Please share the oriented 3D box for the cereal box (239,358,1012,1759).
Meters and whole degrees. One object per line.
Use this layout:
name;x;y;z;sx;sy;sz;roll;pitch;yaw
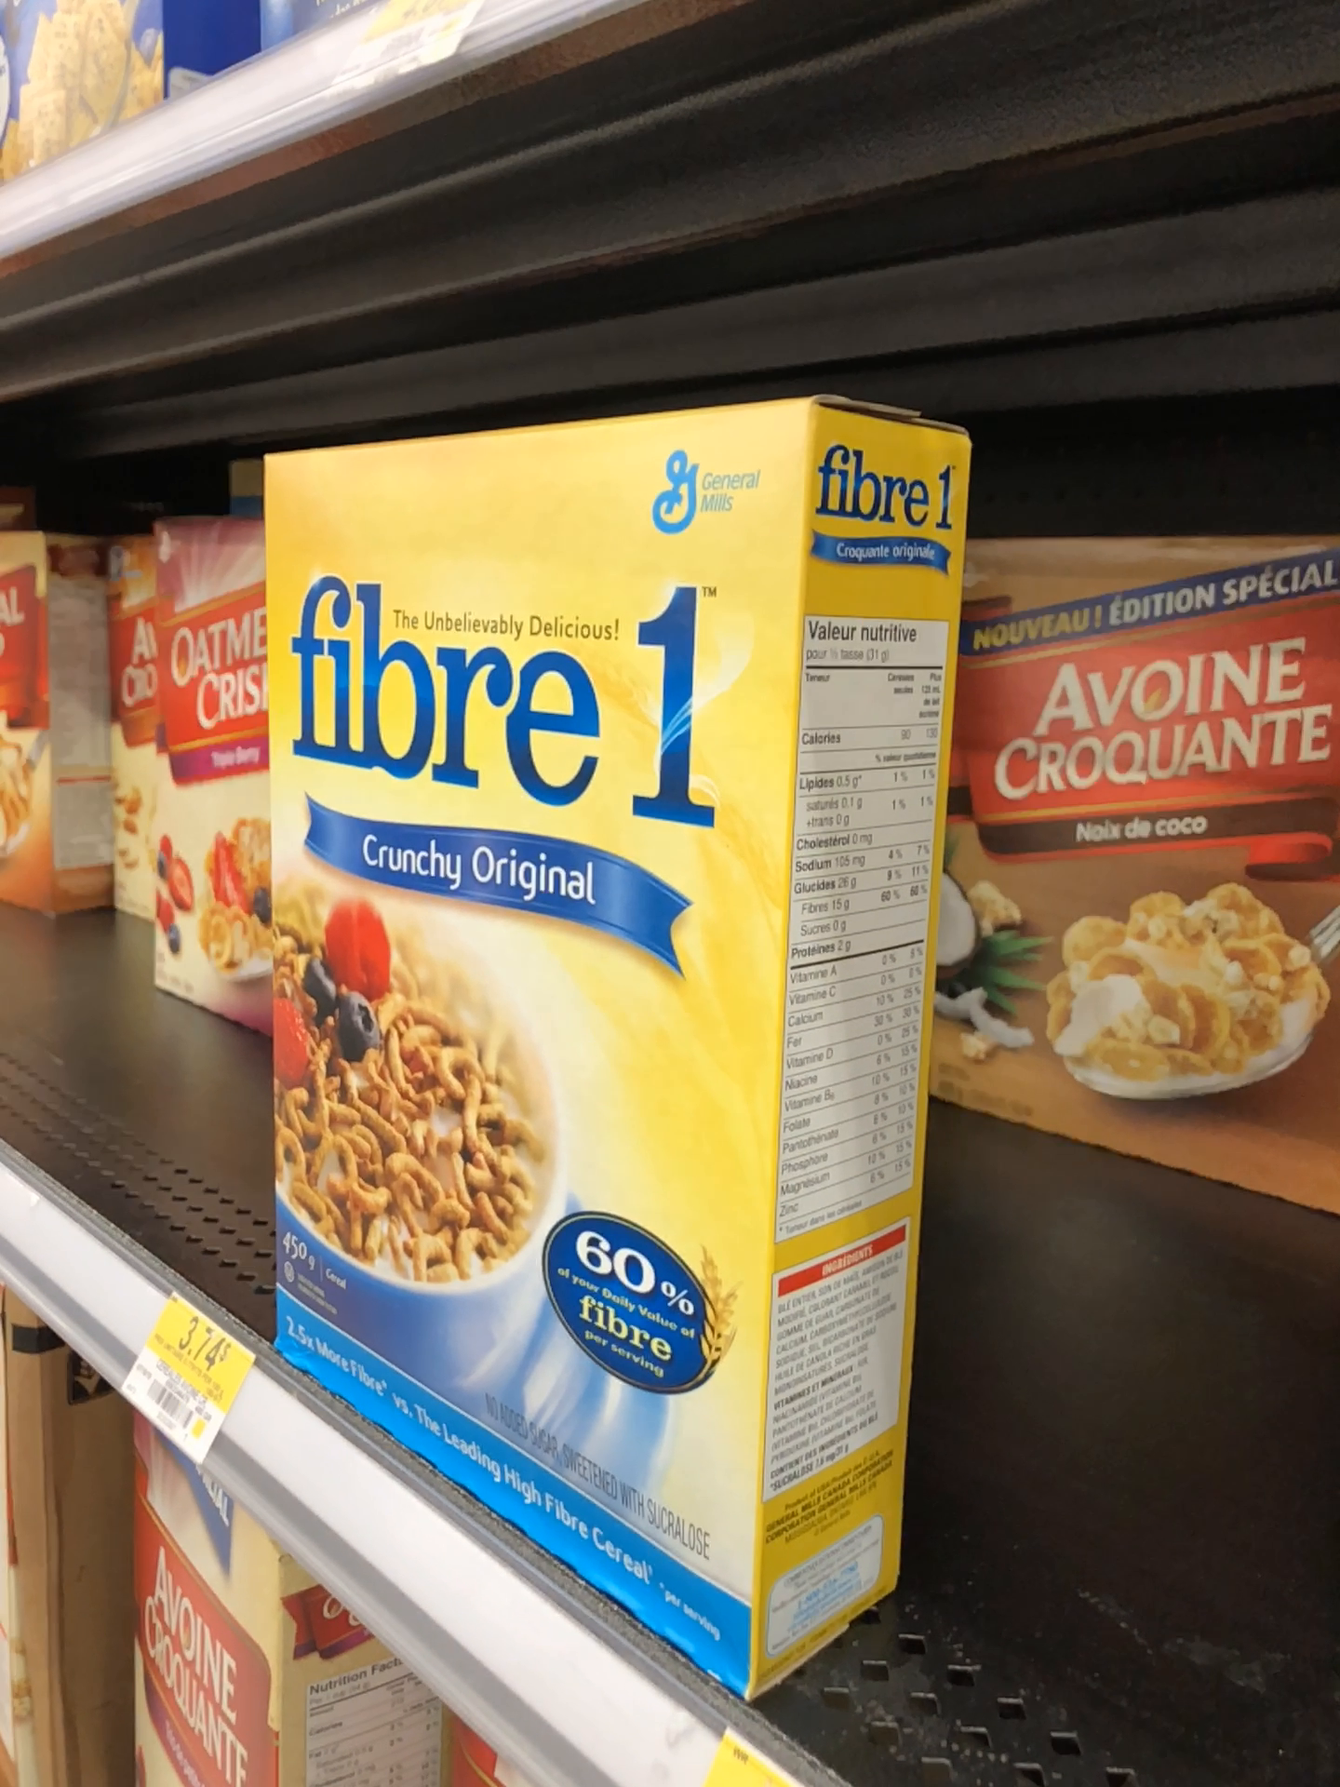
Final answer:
cereal box;-0.028;0.021;0.359;0.060;0.259;0.200;-7;13;-41
